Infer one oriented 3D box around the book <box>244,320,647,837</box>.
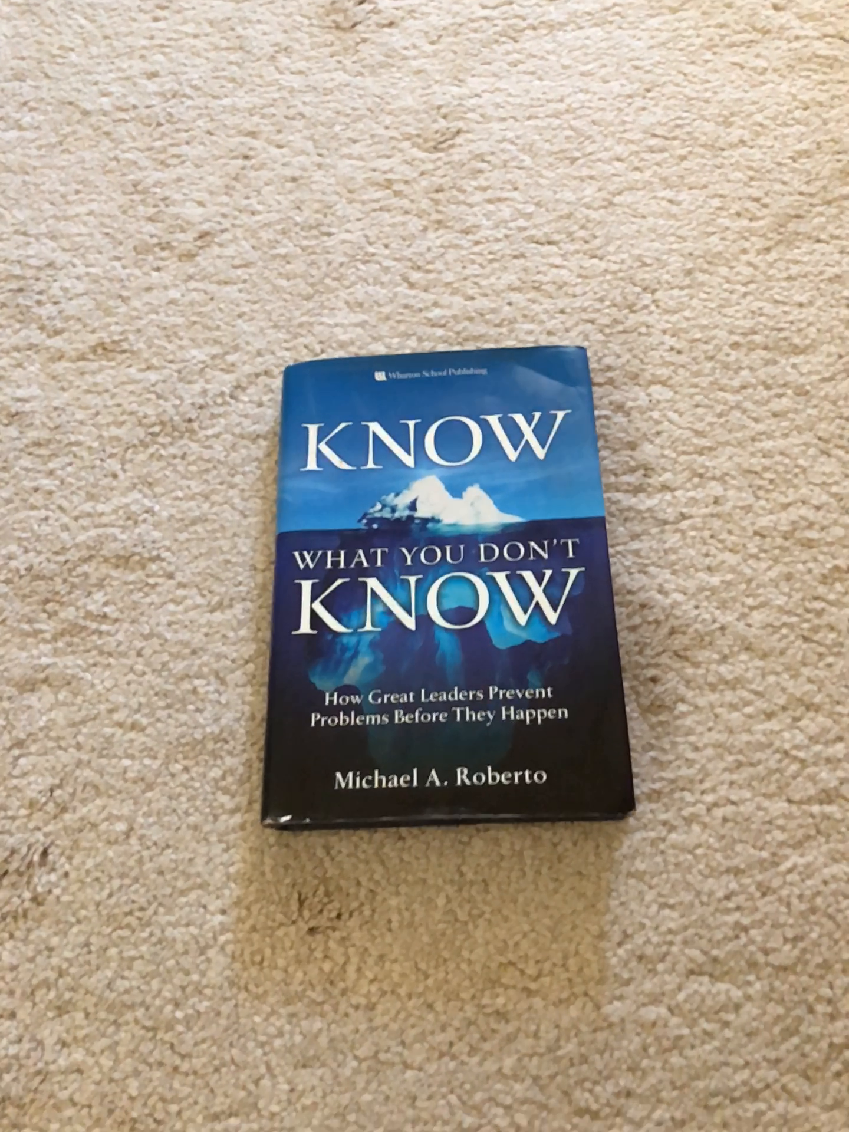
[{"bbox_3d":[0.006,-0.002,0.437,0.160,0.034,0.240,-2,66,2],"label":"book"}]
